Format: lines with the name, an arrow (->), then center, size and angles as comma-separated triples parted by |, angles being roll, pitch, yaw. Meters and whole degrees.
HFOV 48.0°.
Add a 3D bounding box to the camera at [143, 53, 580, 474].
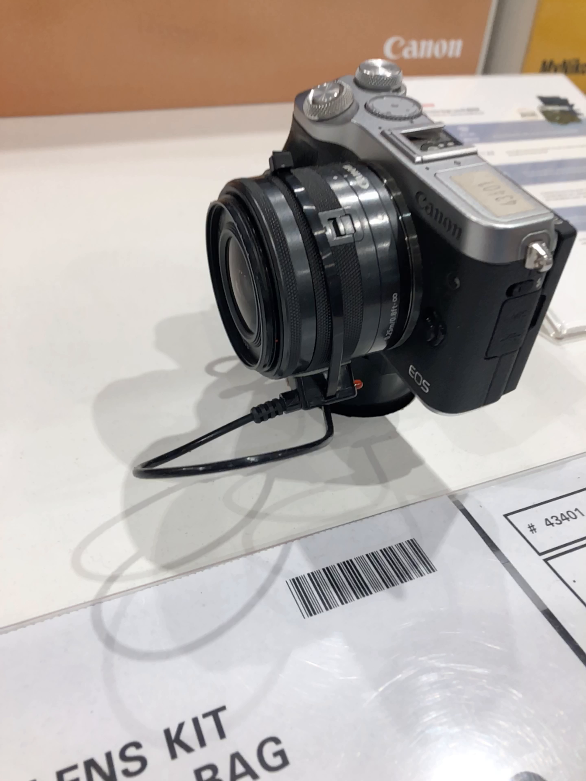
camera -> 0.010, -0.047, 0.207 | 0.083, 0.075, 0.103 | -15, 46, -18
